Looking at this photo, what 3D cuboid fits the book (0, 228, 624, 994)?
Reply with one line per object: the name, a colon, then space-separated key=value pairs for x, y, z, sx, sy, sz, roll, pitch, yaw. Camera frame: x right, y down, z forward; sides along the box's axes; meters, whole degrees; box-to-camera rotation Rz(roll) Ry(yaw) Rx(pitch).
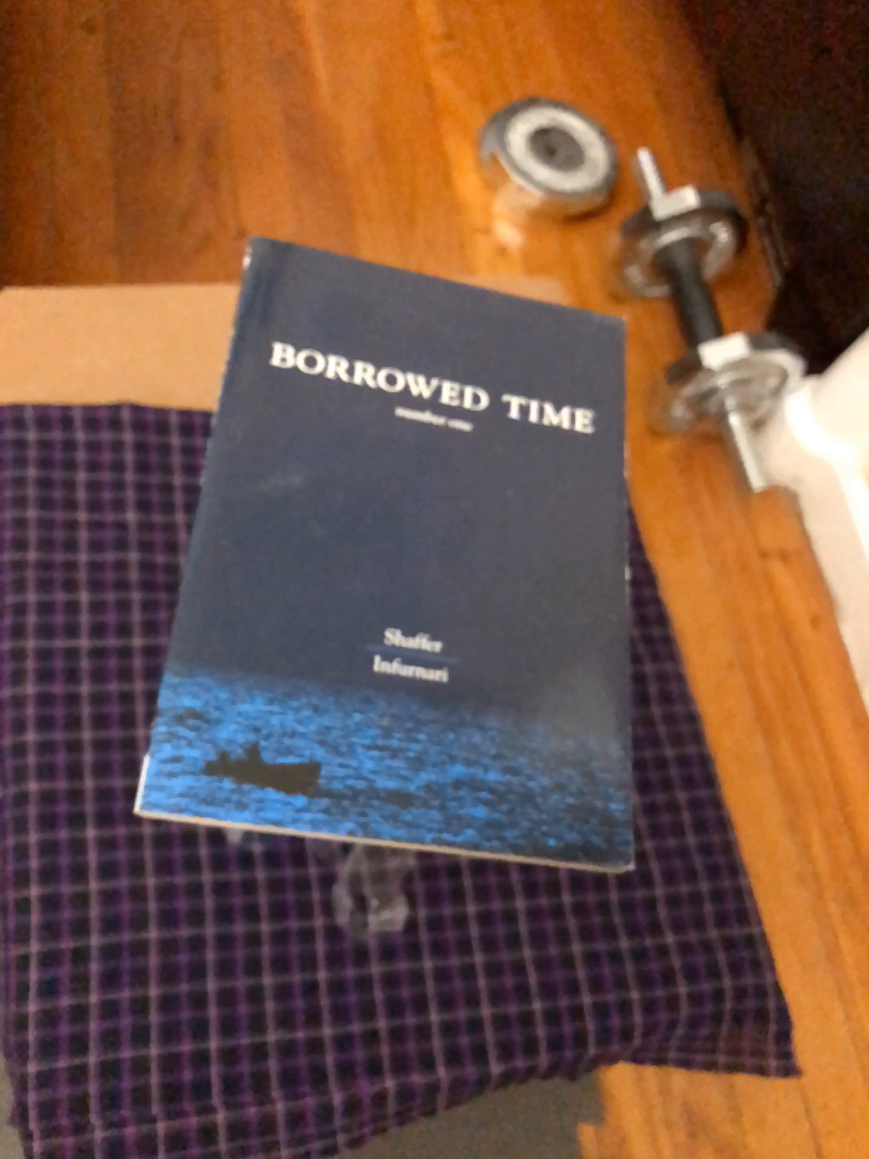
book: x=-0.018 y=-0.004 z=0.306 sx=0.160 sy=0.010 sz=0.231 roll=11 pitch=62 yaw=-10
